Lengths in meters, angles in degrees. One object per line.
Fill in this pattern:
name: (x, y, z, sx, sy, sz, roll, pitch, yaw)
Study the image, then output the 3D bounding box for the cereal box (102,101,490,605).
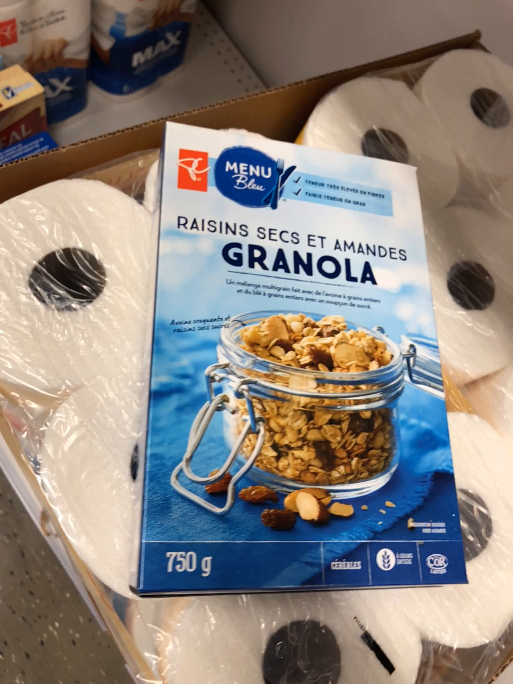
cereal box: (0.016, 0.003, 0.314, 0.170, 0.060, 0.250, 6, 67, -15)
